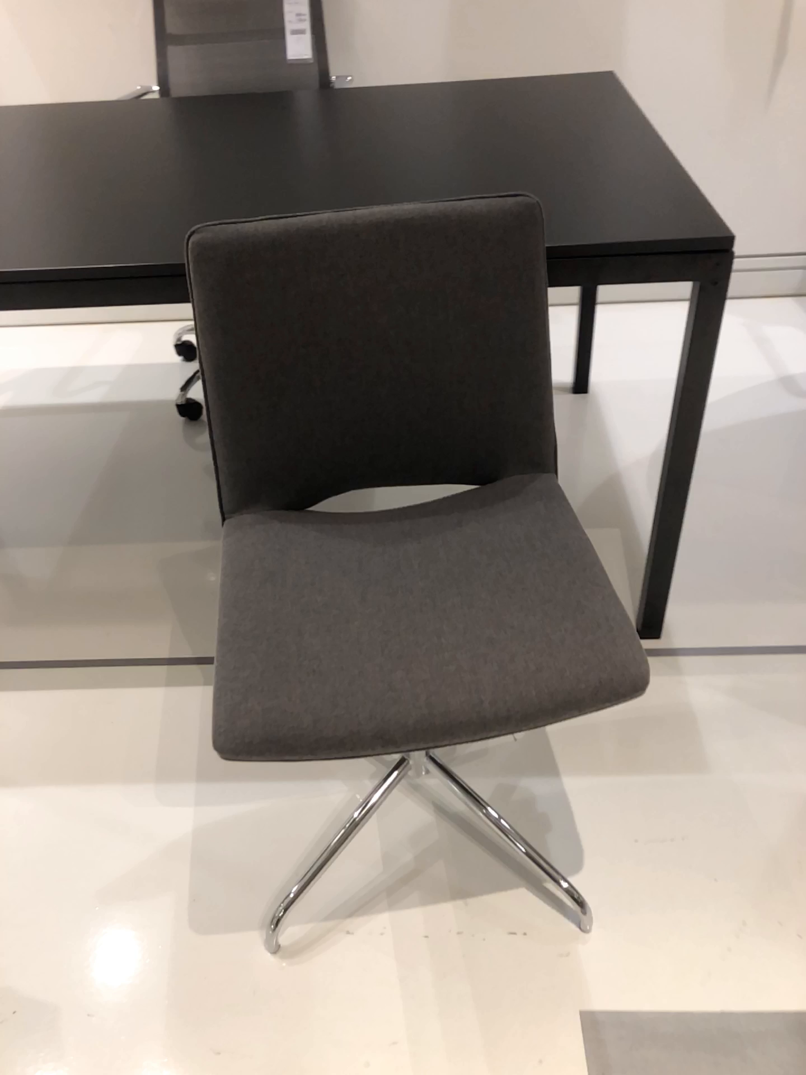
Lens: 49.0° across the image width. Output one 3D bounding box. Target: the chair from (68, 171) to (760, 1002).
[{"bbox_3d":[-0.004,0.072,1.129,0.520,0.833,0.554,-8,39,-5],"label":"chair"}]
